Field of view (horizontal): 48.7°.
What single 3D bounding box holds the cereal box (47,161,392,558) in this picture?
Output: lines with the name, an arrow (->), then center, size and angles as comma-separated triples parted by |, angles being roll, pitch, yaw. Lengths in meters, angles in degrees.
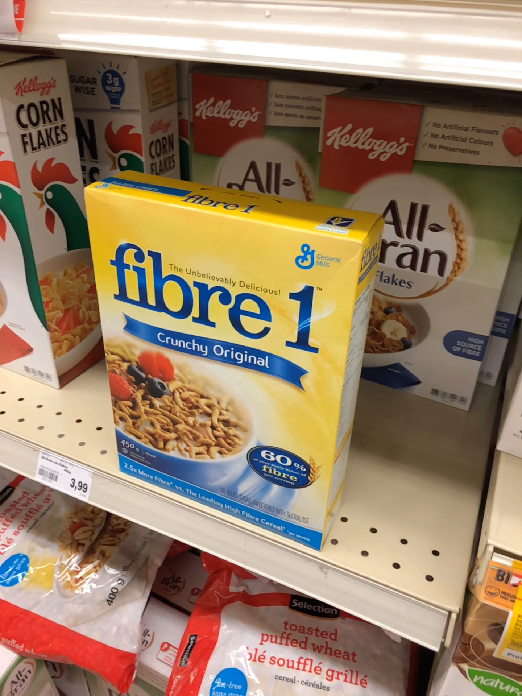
cereal box -> -0.033, 0.010, 0.422 | 0.210, 0.248, 0.060 | 15, 34, 20
